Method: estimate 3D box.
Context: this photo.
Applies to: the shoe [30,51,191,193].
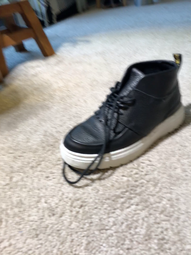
[{"bbox_3d":[0.048,-0.027,0.347,0.262,0.111,0.107,-24,39,-20],"label":"shoe"}]
